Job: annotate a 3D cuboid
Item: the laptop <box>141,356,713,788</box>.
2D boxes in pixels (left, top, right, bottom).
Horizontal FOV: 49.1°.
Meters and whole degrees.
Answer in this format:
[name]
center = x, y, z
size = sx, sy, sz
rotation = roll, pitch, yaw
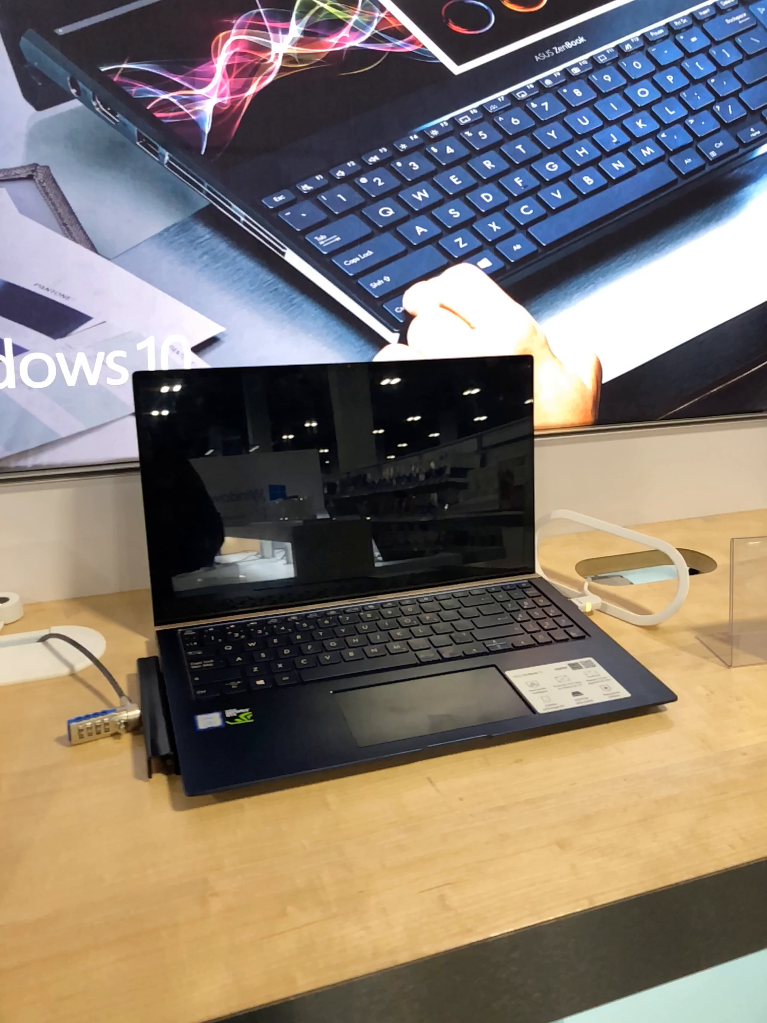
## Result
[laptop]
center = 0.008, 0.012, 0.623
size = 0.336, 0.196, 0.250
rotation = -6, 21, -17
